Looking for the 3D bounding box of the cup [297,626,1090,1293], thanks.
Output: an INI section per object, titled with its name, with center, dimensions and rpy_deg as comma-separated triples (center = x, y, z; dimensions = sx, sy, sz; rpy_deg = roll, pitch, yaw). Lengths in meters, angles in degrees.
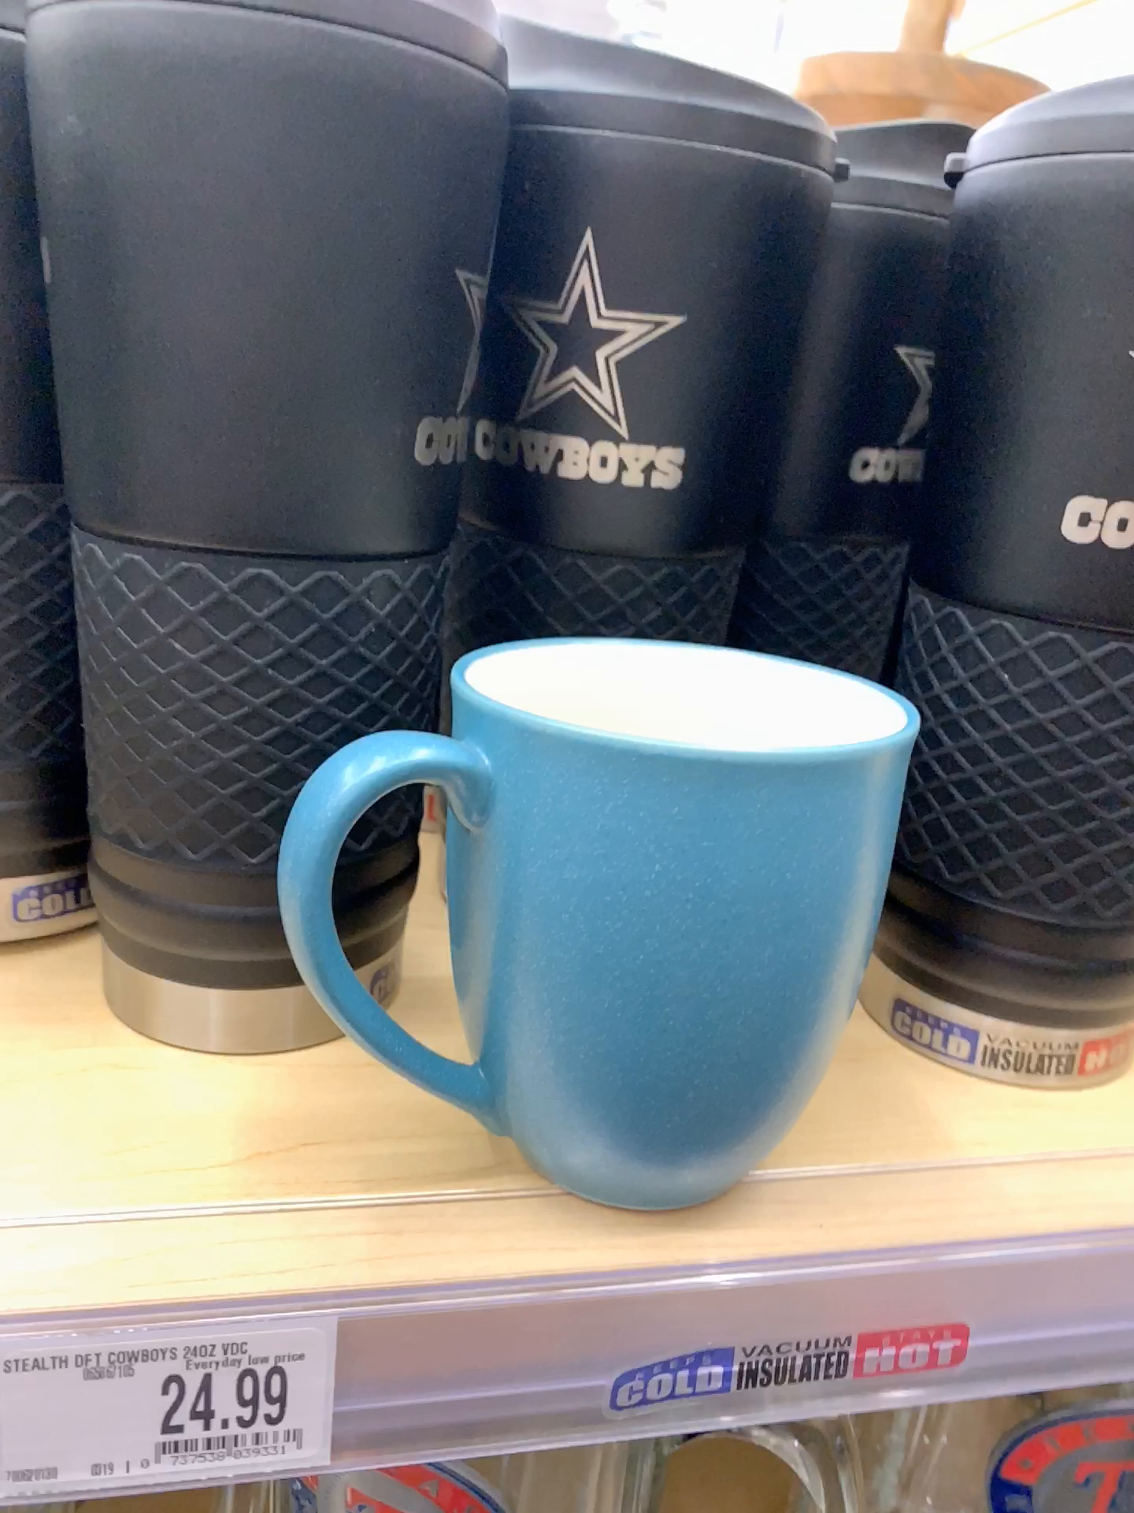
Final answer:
[cup]
center = 0.014, 0.027, 0.229
dimensions = 0.116, 0.084, 0.090
rpy_deg = -1, 19, -21
